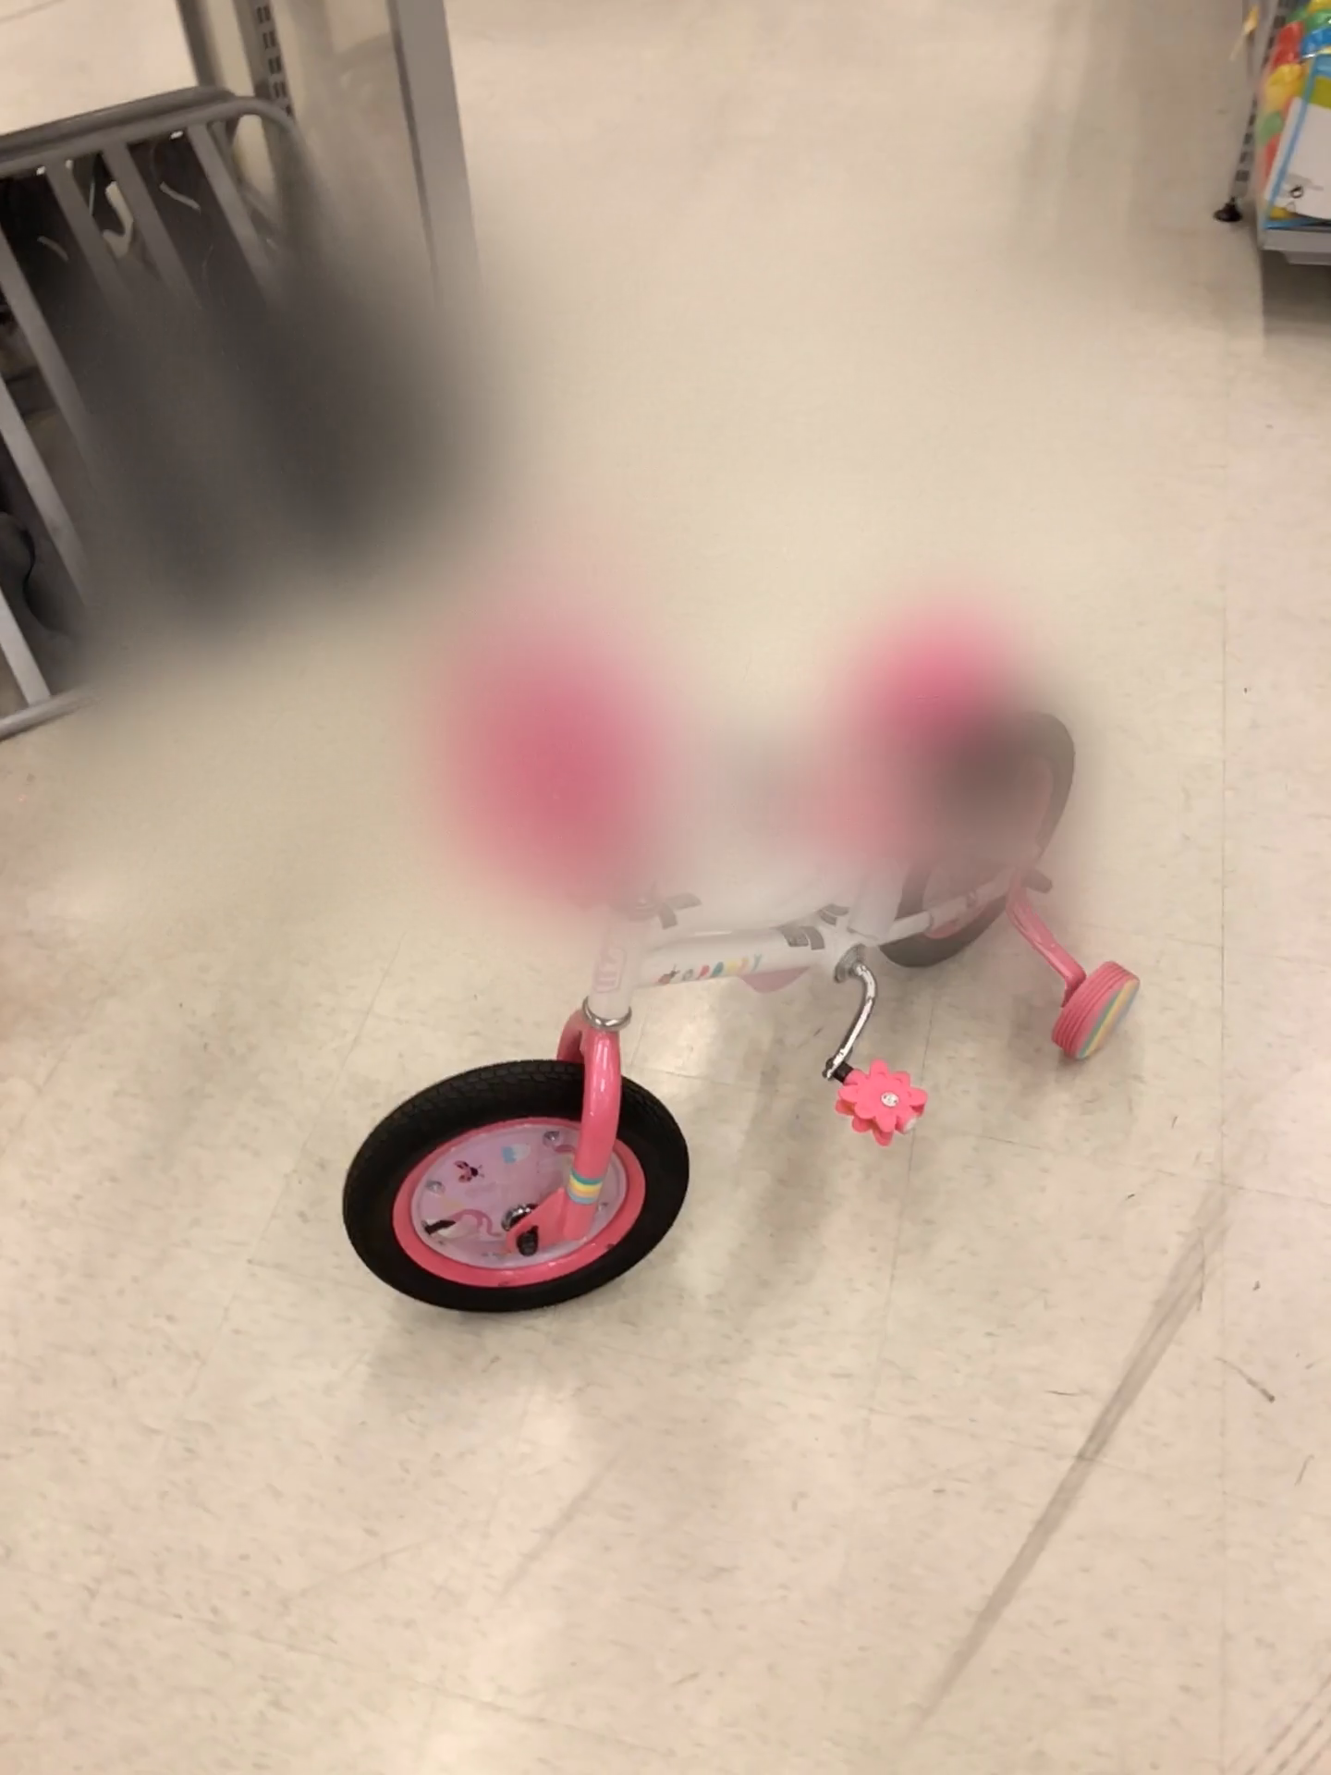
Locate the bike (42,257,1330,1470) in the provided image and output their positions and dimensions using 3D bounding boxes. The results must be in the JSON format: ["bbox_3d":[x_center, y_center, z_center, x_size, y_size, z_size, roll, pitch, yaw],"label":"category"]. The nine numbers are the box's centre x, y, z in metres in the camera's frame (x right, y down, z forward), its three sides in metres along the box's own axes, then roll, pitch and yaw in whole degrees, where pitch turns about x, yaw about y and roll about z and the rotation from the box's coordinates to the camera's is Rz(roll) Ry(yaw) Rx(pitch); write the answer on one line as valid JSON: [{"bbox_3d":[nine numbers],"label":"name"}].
[{"bbox_3d":[0.063,-0.029,1.321,0.880,0.632,0.458,-32,56,-20],"label":"bike"}]
